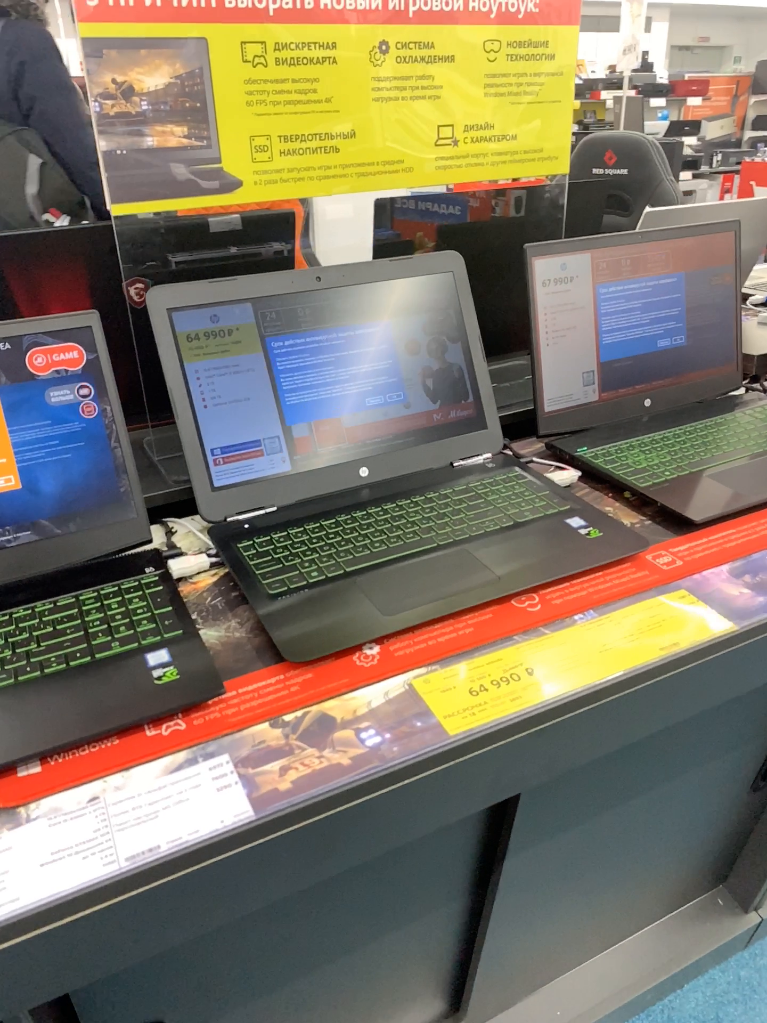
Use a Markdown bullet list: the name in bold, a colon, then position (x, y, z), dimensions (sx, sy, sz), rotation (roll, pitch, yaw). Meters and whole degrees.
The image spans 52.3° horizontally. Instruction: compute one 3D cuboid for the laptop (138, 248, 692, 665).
- **laptop**: position (0.008, -0.103, 0.787), dimensions (0.385, 0.223, 0.380), rotation (-14, 31, -24)
